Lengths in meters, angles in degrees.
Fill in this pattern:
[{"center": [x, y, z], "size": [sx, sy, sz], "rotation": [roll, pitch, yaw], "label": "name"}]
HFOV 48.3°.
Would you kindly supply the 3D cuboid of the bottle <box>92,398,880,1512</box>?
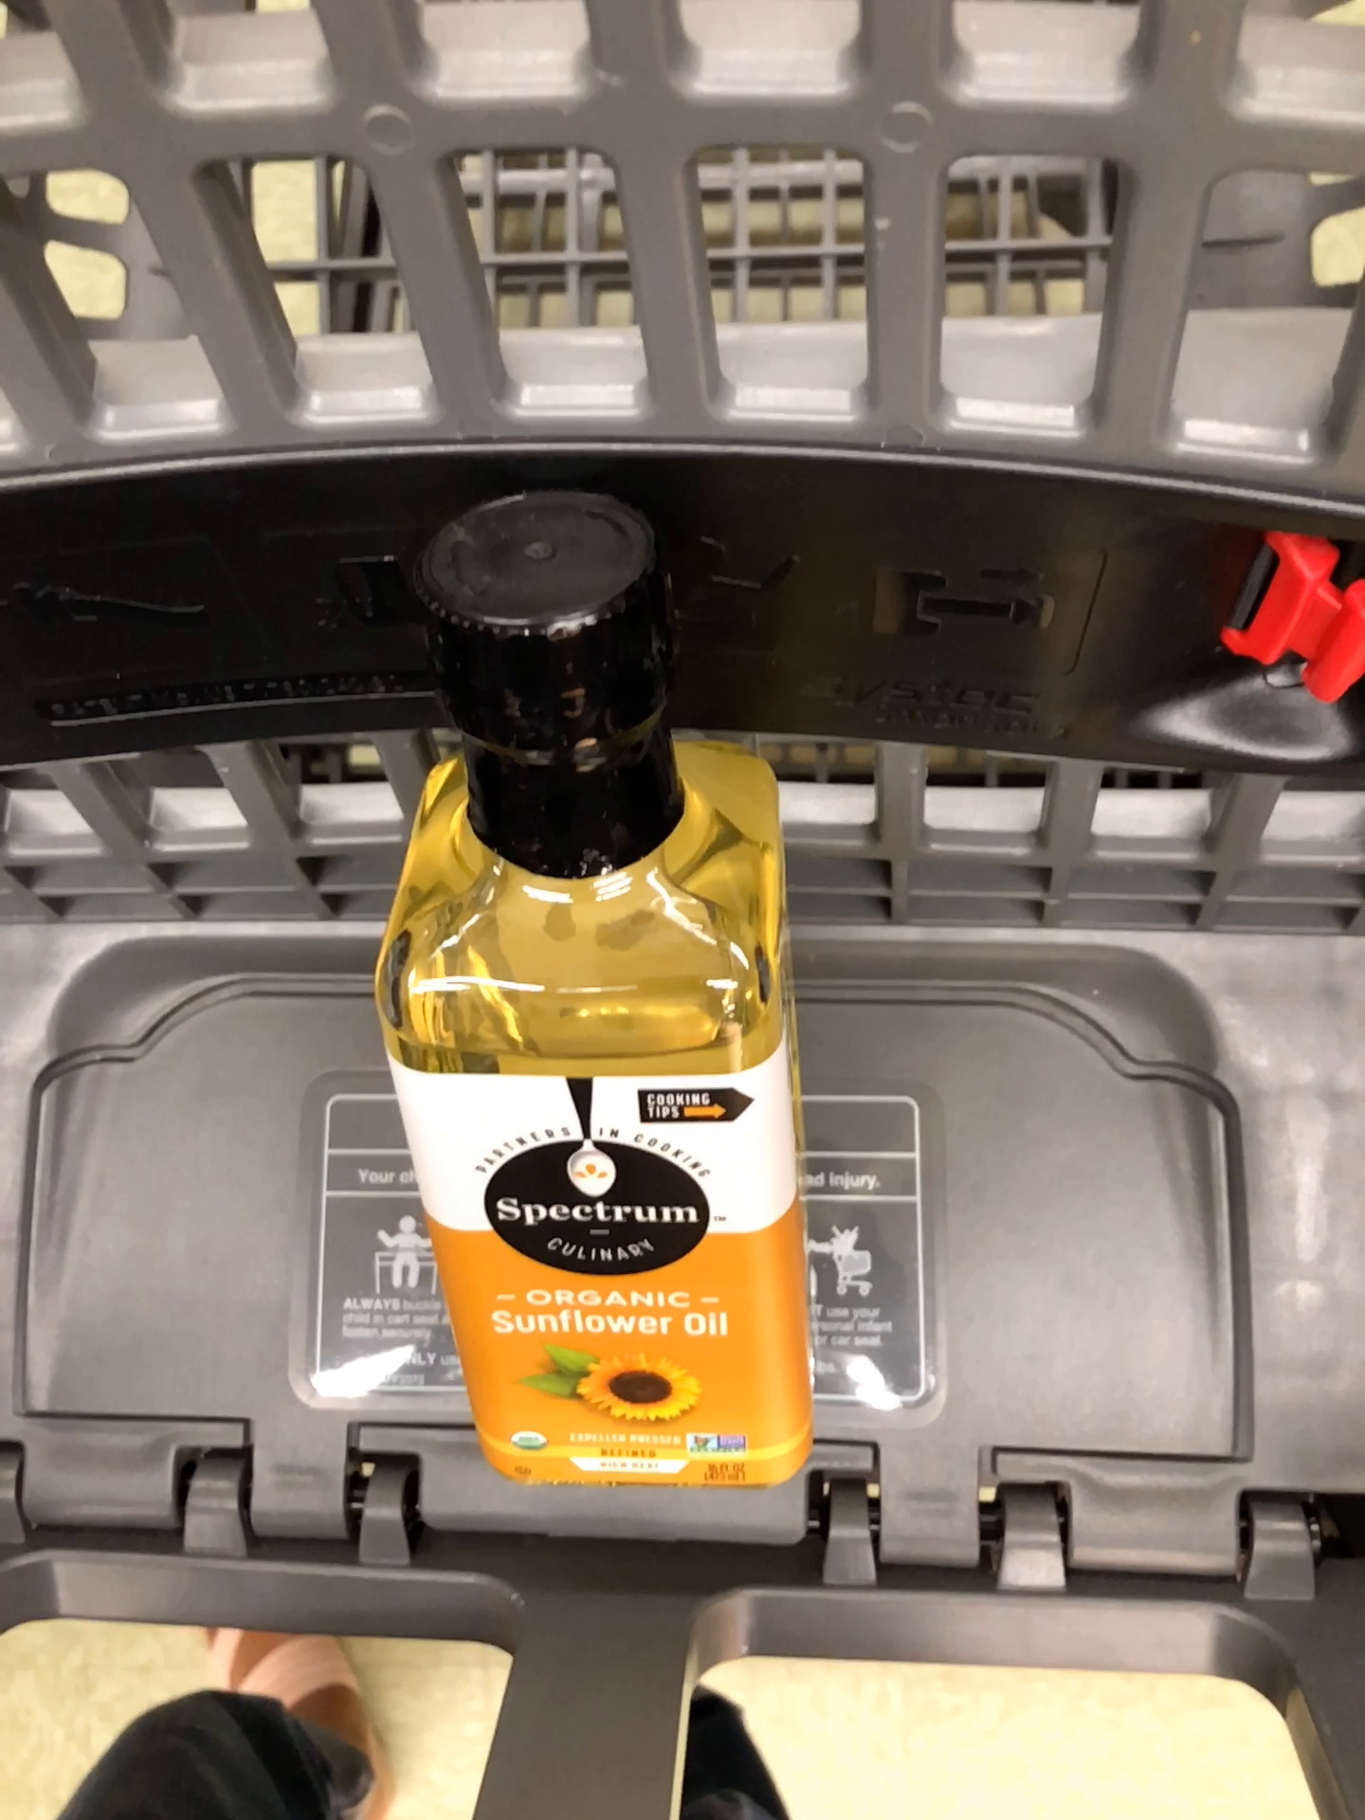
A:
[{"center": [-0.012, 0.027, 0.251], "size": [0.080, 0.201, 0.070], "rotation": [-1, 49, 4], "label": "bottle"}]
